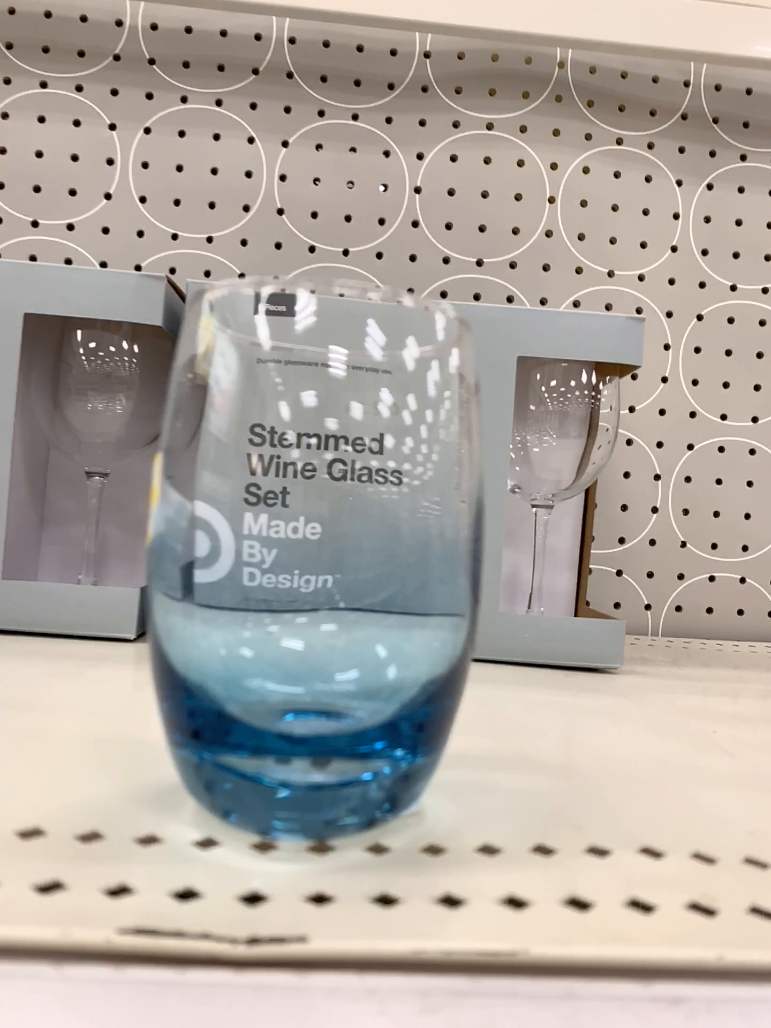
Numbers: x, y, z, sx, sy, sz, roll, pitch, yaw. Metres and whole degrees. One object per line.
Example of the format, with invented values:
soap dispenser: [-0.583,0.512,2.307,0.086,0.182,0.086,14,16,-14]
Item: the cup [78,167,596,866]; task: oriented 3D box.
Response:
cup: [-0.017,0.000,0.197,0.090,0.120,0.090,4,1,0]
